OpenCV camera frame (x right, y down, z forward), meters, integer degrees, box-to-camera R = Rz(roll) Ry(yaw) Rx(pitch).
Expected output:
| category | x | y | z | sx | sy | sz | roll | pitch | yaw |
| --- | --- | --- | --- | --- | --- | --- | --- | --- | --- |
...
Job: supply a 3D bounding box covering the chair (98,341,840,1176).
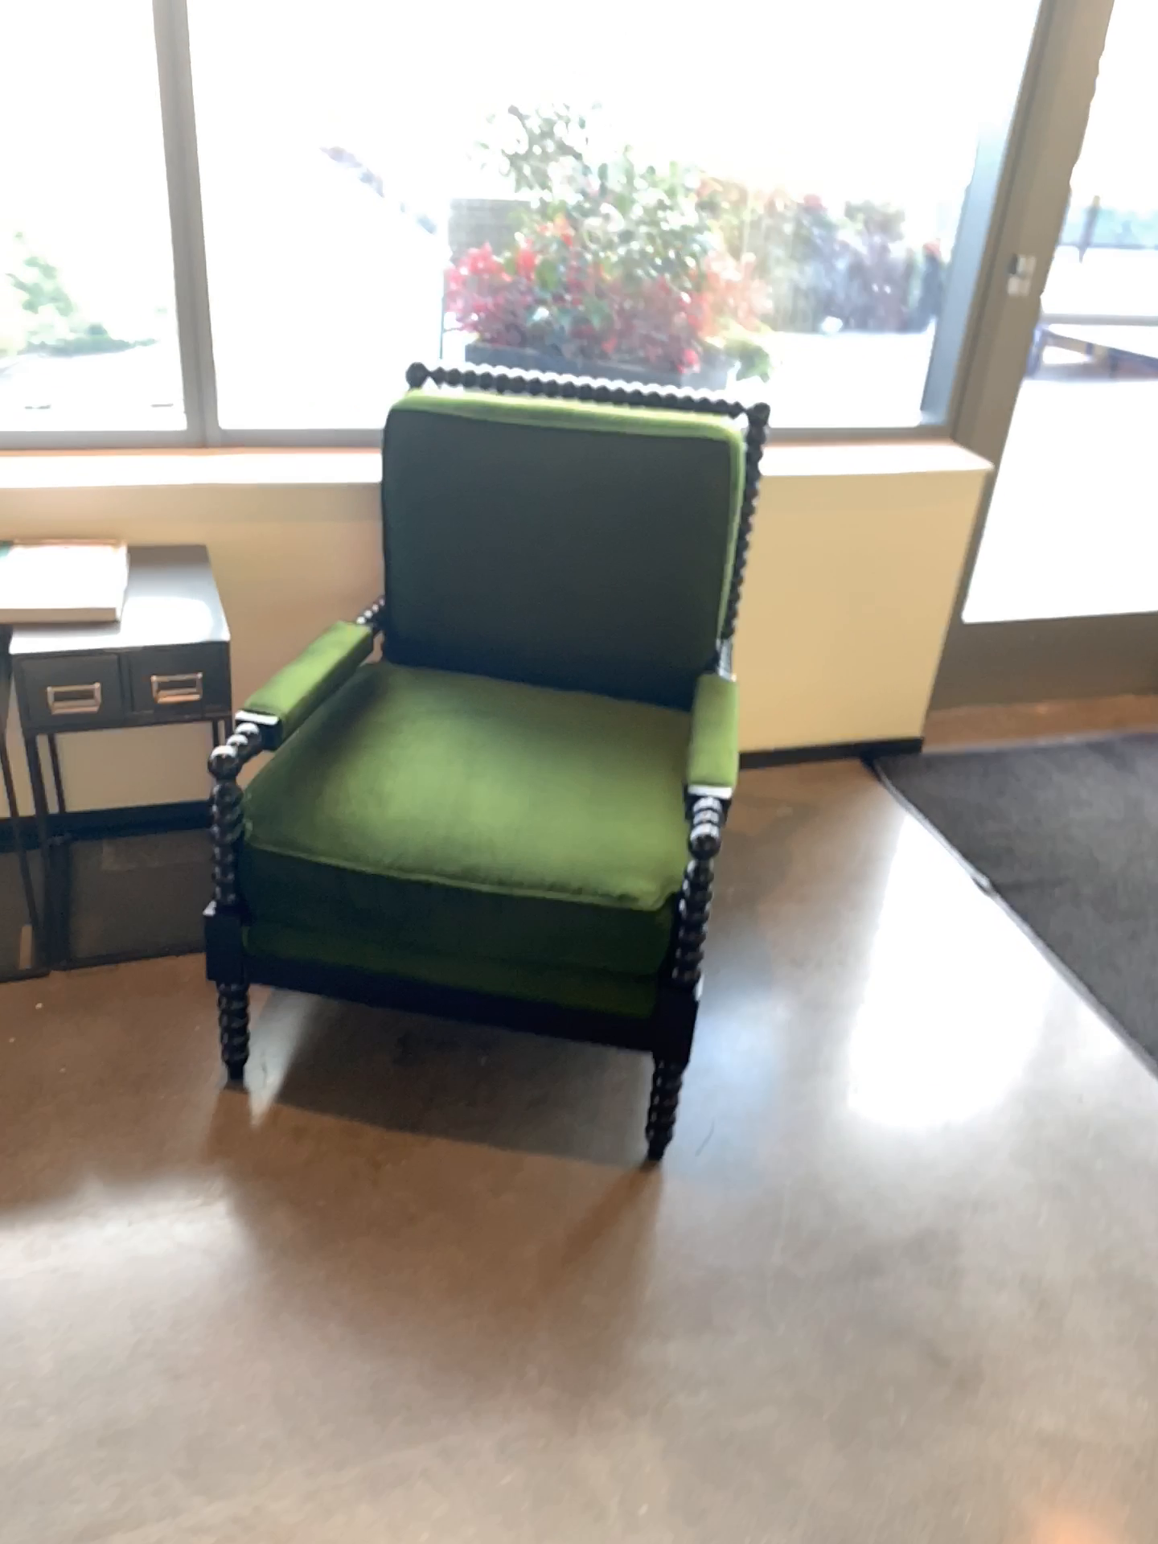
| category | x | y | z | sx | sy | sz | roll | pitch | yaw |
| --- | --- | --- | --- | --- | --- | --- | --- | --- | --- |
| chair | -0.091 | -0.100 | 1.991 | 0.870 | 0.924 | 0.946 | 9 | 31 | 7 |
